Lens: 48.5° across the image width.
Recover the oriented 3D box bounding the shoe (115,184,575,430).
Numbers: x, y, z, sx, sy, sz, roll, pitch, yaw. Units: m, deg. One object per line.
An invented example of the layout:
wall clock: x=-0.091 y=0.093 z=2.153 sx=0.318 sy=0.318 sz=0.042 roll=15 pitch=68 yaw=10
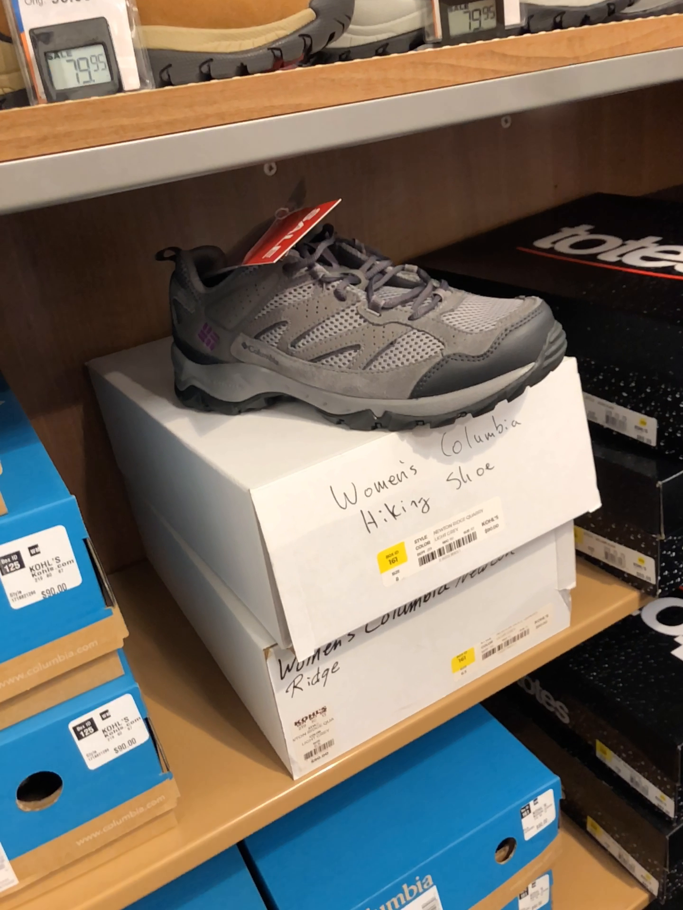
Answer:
shoe: x=0.004 y=-0.096 z=0.494 sx=0.267 sy=0.114 sz=0.104 roll=4 pitch=28 yaw=26
